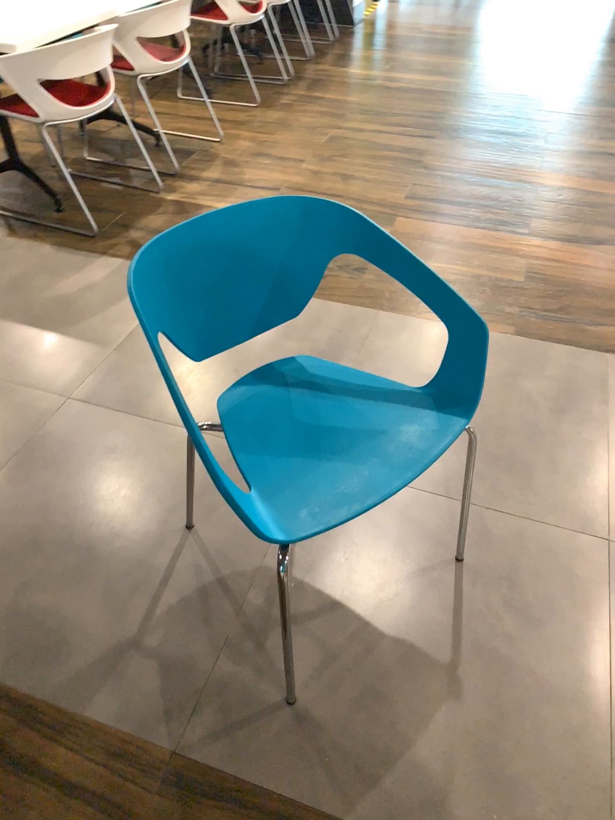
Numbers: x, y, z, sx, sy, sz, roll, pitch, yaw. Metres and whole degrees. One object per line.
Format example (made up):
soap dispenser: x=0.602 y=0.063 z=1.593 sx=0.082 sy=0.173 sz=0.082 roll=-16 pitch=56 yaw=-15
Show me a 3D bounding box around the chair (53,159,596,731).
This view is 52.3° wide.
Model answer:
chair: x=0.017 y=0.036 z=1.223 sx=0.612 sy=0.724 sz=0.593 roll=-29 pitch=50 yaw=-28
